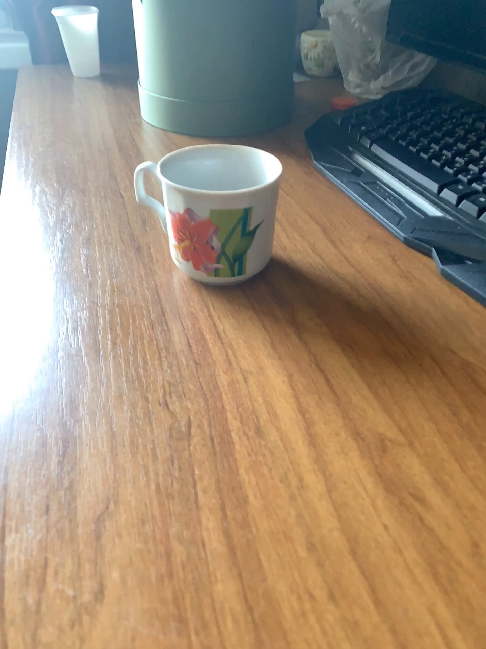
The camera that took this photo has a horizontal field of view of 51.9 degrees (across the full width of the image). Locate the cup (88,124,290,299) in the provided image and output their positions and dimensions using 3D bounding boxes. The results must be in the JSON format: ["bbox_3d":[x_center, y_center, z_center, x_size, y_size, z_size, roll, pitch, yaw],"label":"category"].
[{"bbox_3d":[-0.033,-0.080,0.342,0.110,0.080,0.070,12,39,13],"label":"cup"}]
